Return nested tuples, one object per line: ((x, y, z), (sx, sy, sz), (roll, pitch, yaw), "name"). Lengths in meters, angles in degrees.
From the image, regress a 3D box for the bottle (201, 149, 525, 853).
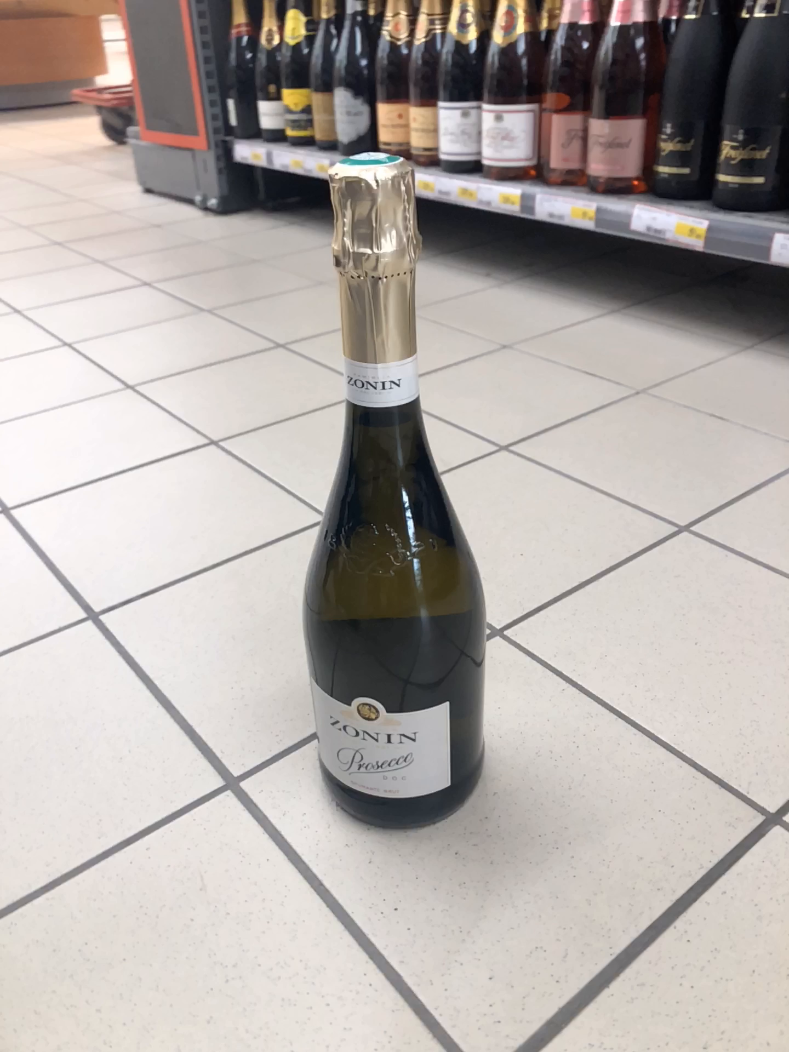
((-0.001, -0.001, 0.402), (0.100, 0.308, 0.091), (5, 30, 14), "bottle")
